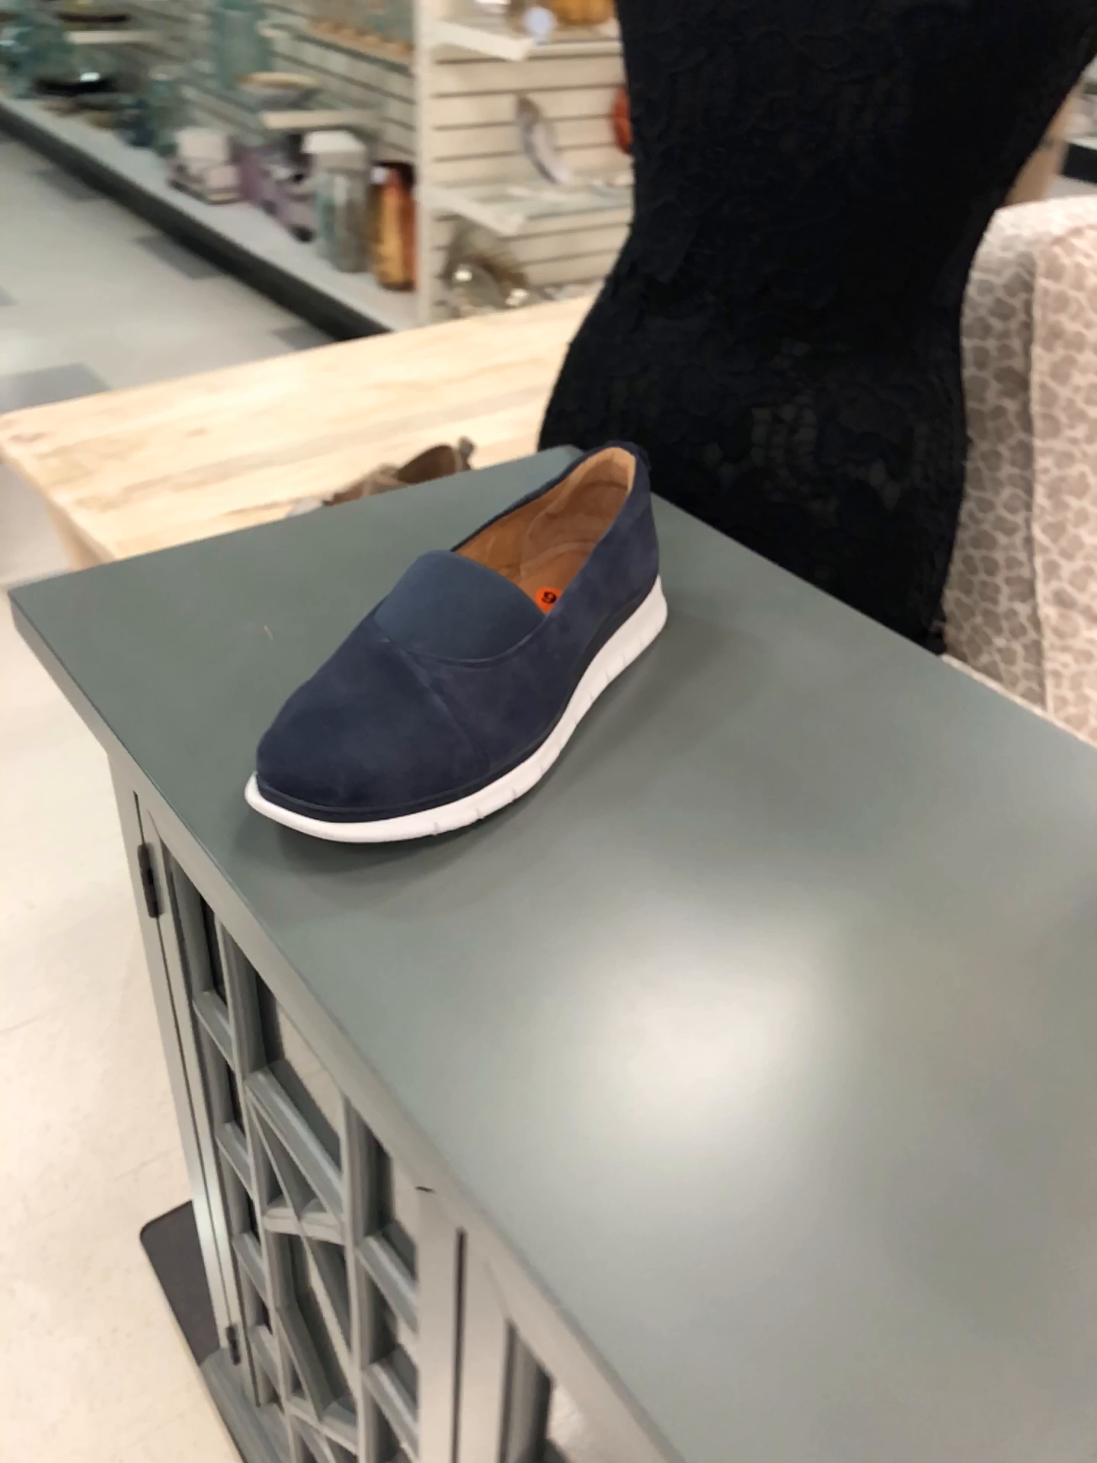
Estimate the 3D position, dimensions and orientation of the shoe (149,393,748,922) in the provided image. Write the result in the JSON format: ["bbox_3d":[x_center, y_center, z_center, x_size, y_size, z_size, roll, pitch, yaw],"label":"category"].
[{"bbox_3d":[-0.028,-0.052,0.543,0.109,0.102,0.272,23,40,26],"label":"shoe"}]
